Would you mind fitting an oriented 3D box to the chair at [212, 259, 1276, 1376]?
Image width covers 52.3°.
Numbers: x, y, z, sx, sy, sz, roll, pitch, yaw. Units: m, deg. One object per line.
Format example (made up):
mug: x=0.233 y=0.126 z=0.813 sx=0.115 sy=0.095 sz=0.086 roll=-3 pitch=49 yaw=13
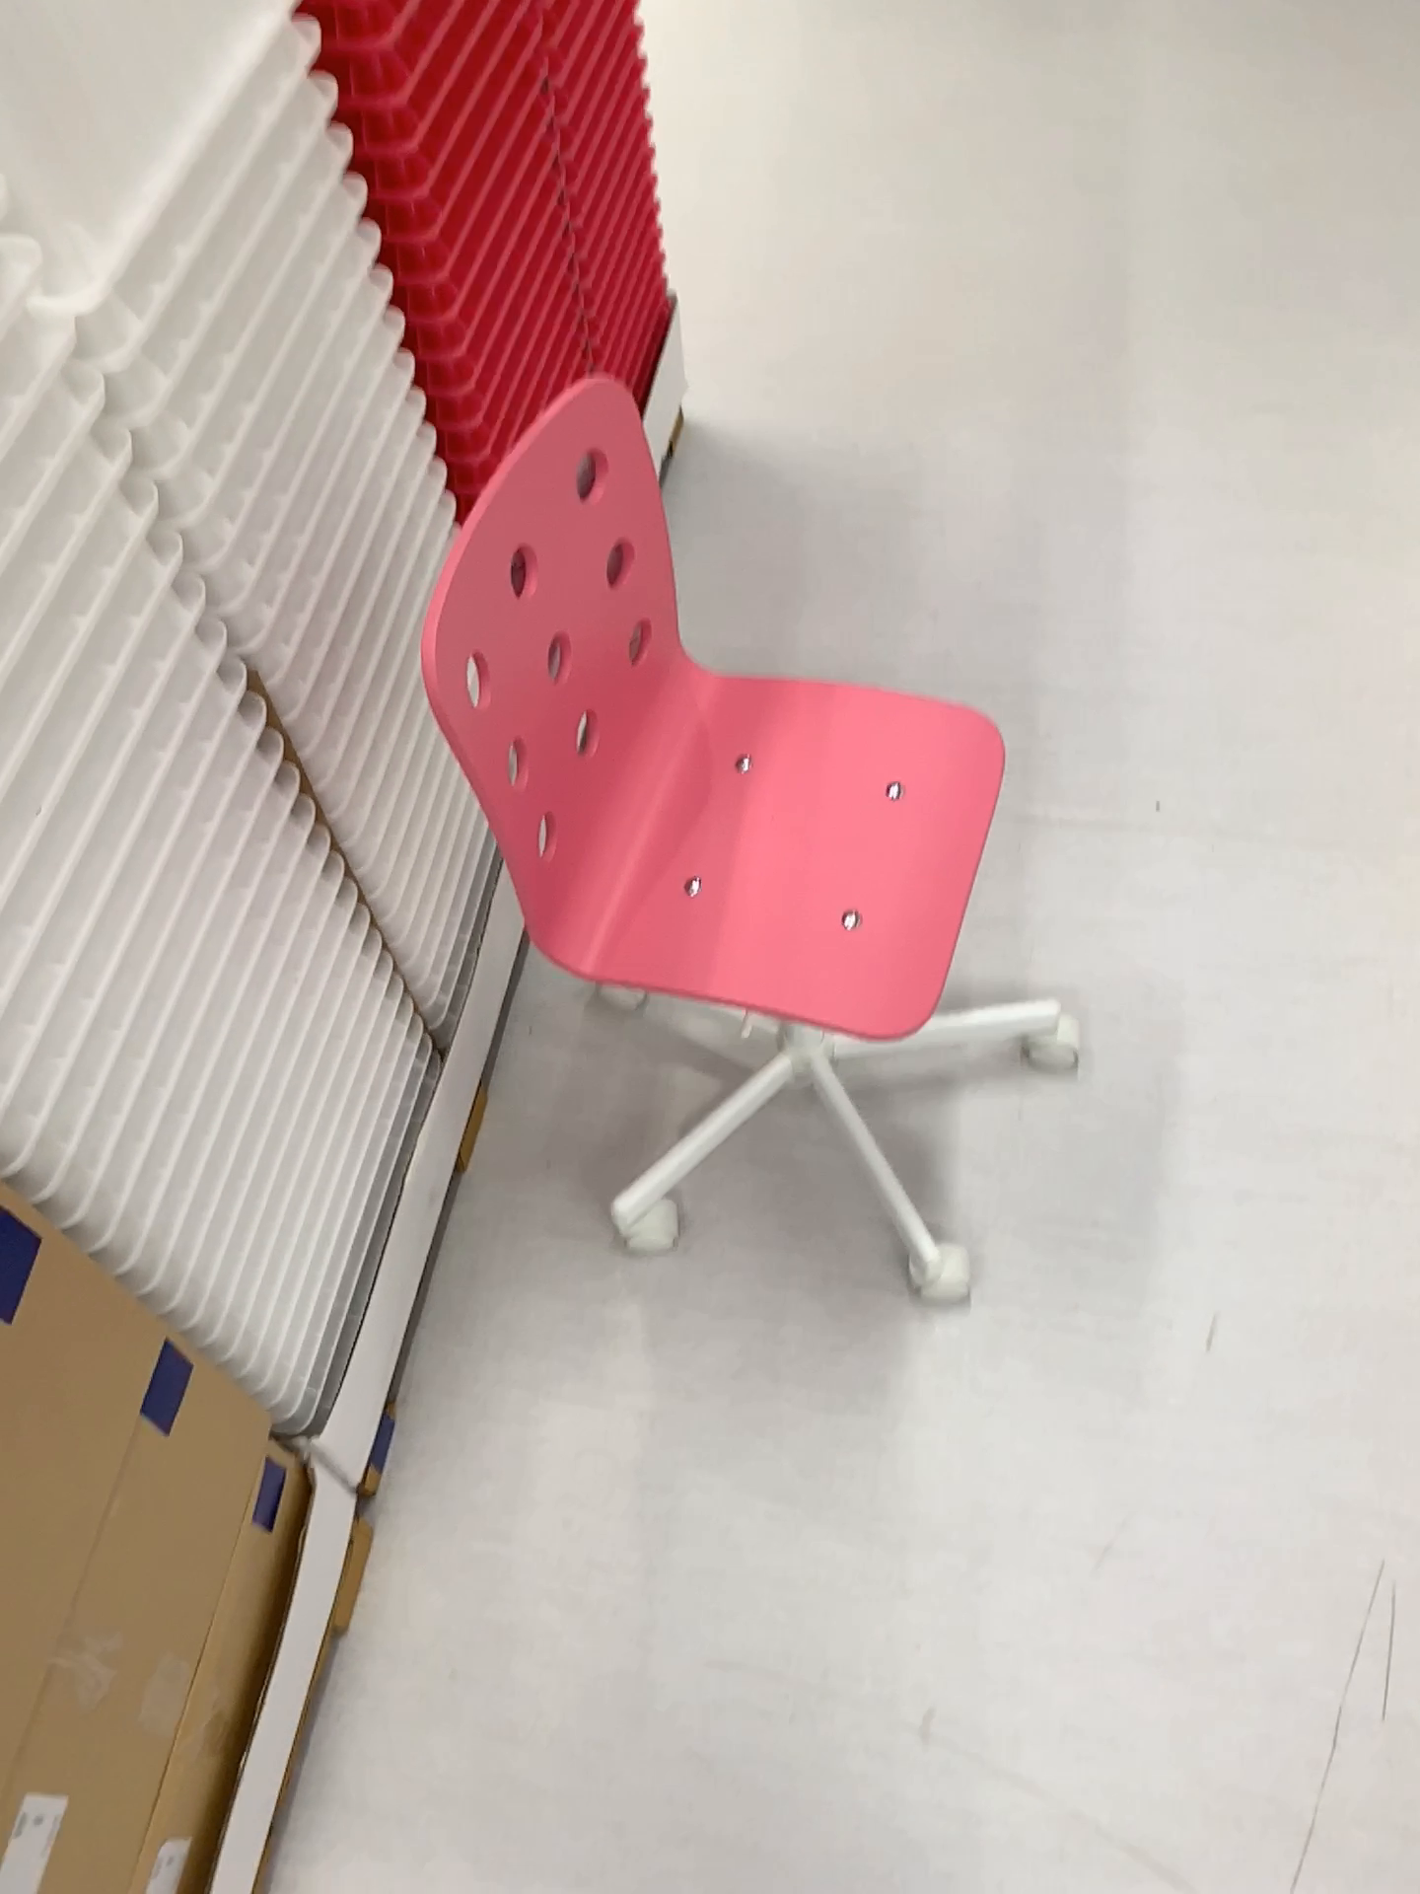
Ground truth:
chair: x=0.078 y=-0.076 z=1.247 sx=0.580 sy=0.708 sz=0.551 roll=11 pitch=58 yaw=12
